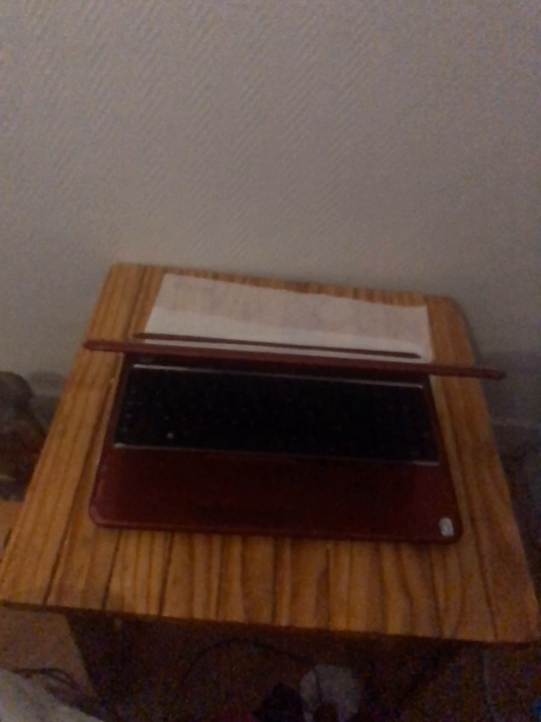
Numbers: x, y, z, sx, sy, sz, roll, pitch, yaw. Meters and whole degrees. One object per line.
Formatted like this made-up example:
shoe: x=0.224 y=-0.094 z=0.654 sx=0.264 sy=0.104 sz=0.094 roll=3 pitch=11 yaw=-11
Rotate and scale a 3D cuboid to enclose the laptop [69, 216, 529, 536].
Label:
laptop: x=0.025 y=0.015 z=0.627 sx=0.372 sy=0.168 sz=0.254 roll=5 pitch=46 yaw=-7
